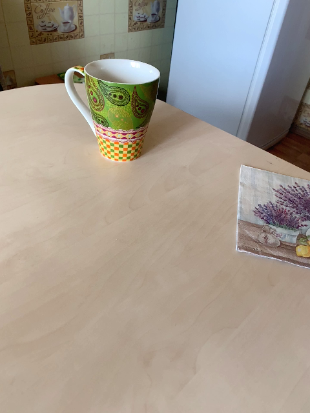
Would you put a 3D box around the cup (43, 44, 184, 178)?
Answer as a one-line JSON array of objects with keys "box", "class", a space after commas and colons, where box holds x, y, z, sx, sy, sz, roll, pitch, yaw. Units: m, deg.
[{"box": [-0.054, -0.132, 0.421, 0.130, 0.109, 0.110, 30, 45, 25], "class": "cup"}]
